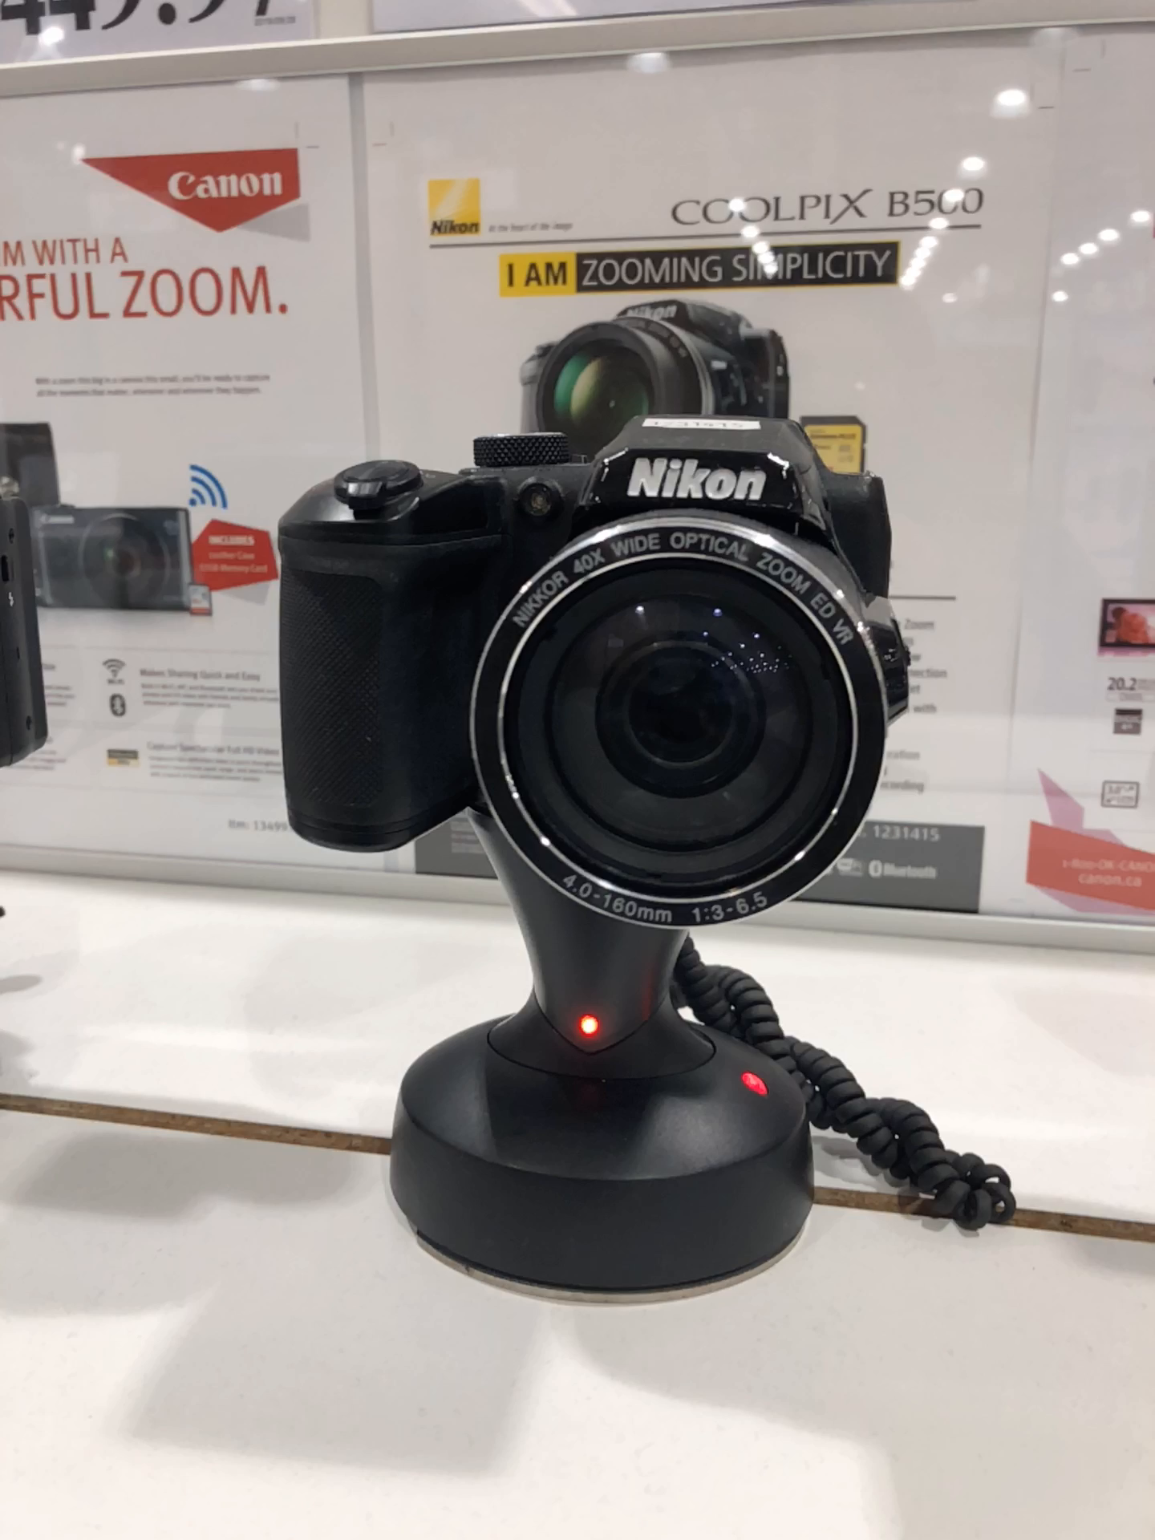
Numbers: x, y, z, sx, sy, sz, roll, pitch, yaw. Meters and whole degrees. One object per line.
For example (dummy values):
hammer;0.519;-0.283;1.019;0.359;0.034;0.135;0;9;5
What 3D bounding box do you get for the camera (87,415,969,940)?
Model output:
camera;-0.001;-0.026;0.228;0.120;0.070;0.100;2;15;10
